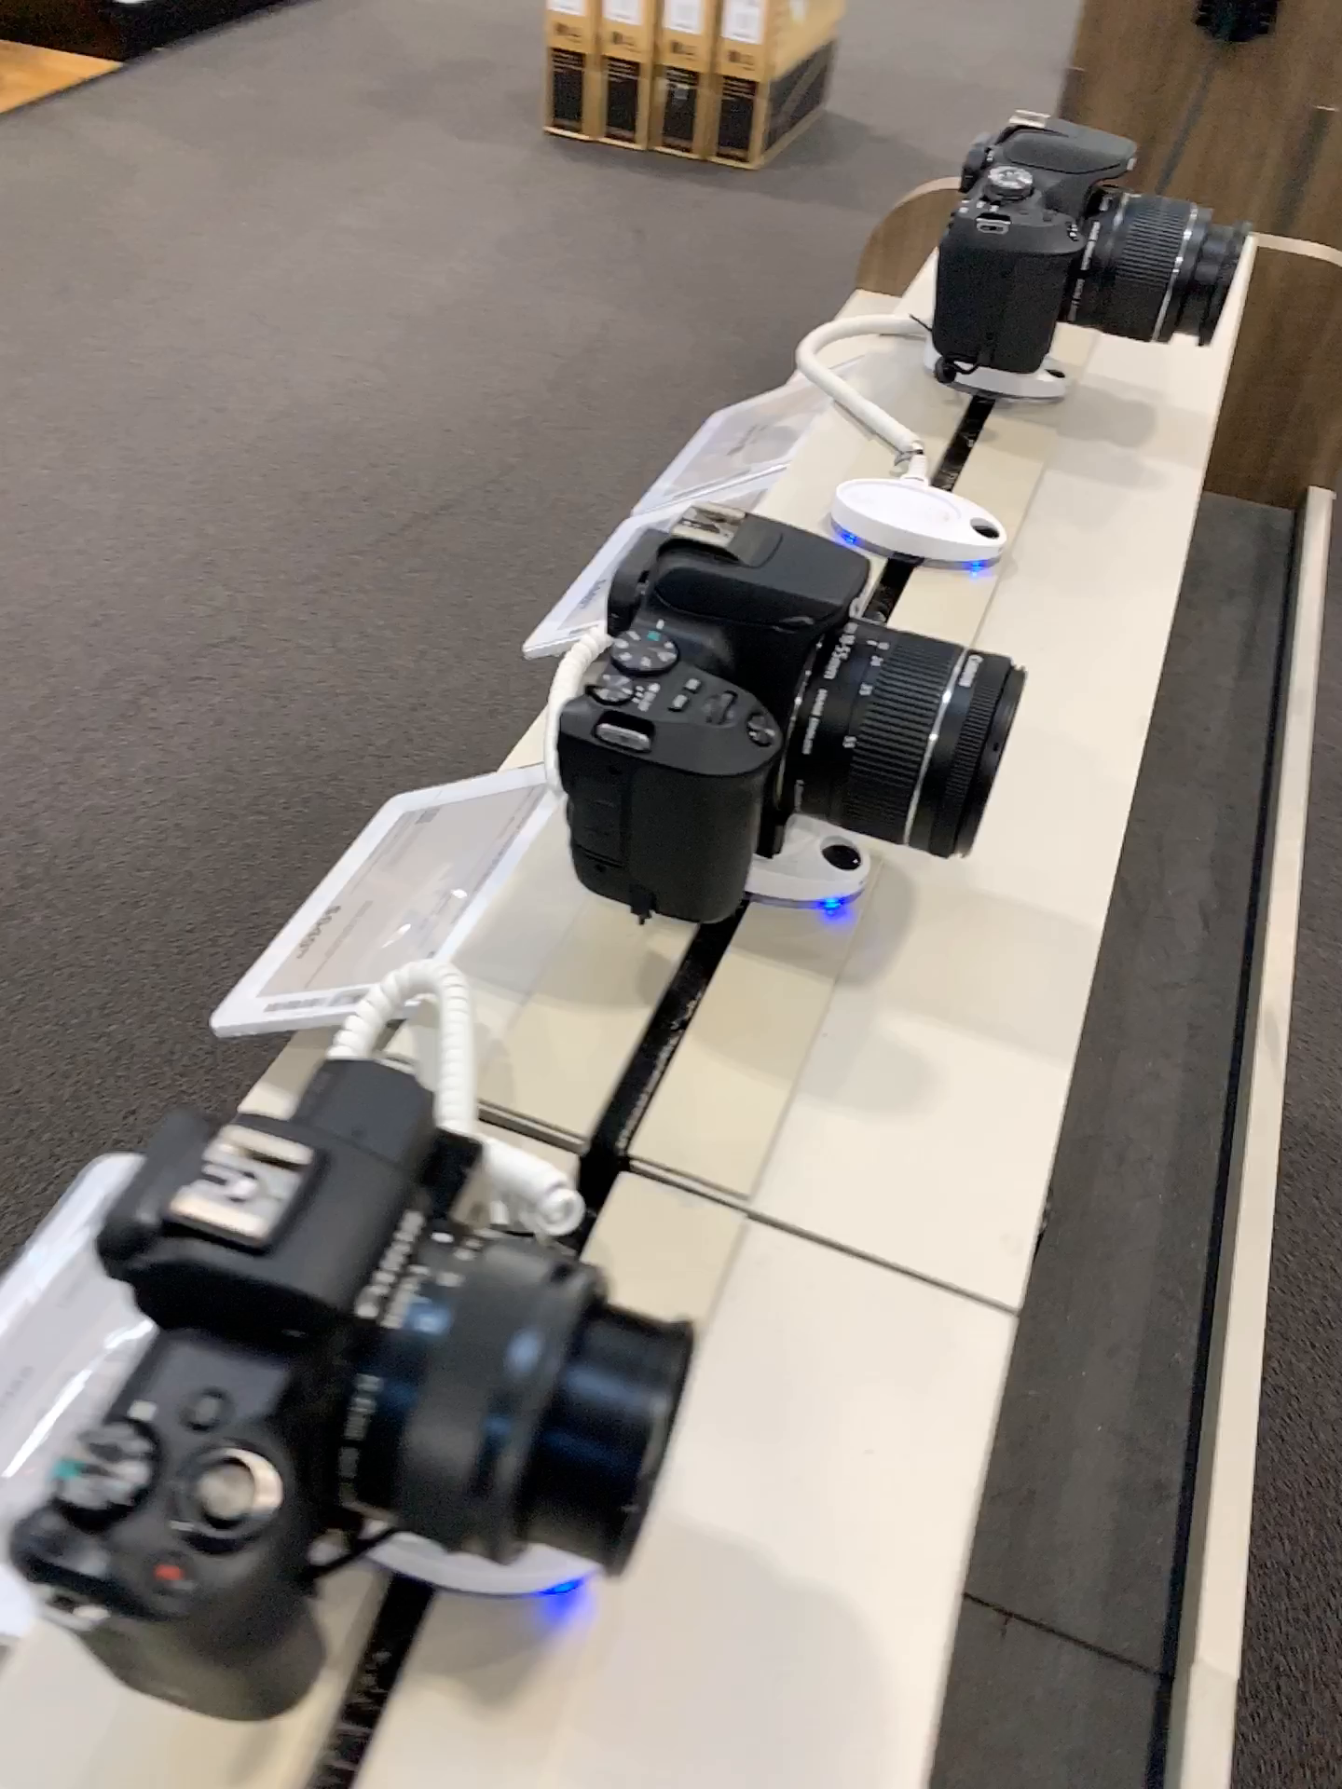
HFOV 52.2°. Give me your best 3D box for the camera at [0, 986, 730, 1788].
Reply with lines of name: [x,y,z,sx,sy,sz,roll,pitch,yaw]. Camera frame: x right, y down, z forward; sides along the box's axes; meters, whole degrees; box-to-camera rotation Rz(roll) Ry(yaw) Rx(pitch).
camera: [-0.060,0.103,0.285,0.111,0.088,0.112,15,46,9]

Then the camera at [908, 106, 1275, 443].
camera: [0.224,-0.335,0.734,0.146,0.101,0.134,19,47,13]

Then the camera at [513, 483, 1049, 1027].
camera: [0.035,-0.049,0.439,0.135,0.089,0.122,15,46,9]
